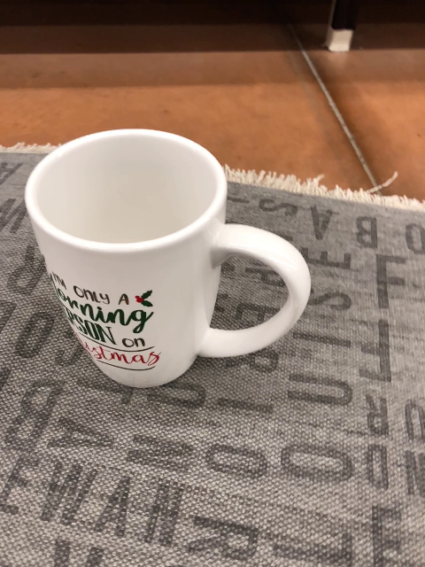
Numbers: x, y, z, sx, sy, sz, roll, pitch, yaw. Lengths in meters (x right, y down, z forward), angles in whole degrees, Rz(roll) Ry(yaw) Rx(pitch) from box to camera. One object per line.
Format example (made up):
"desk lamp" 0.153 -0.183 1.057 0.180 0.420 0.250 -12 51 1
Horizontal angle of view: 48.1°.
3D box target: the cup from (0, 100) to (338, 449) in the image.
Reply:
"cup" -0.028 -0.007 0.223 0.140 0.100 0.090 14 48 11
